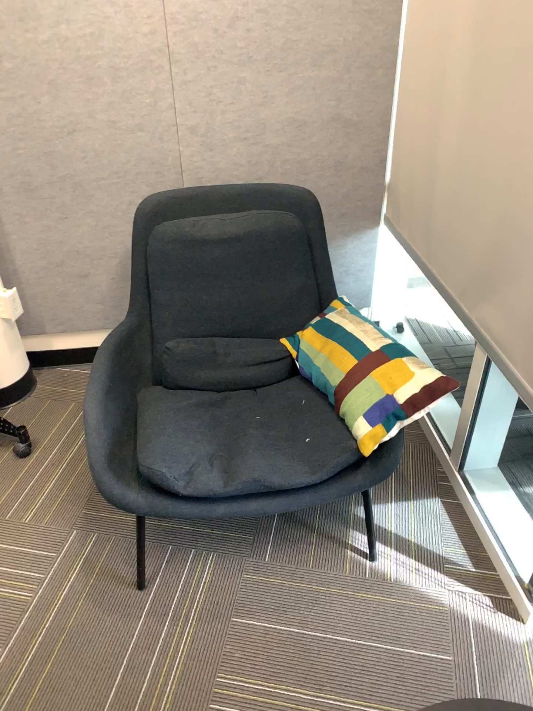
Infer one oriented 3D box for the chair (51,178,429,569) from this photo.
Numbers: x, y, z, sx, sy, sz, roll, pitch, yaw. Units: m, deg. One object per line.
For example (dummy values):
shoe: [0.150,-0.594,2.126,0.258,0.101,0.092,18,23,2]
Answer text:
chair: [-0.056,-0.006,1.779,0.790,0.815,1.006,-2,35,0]
